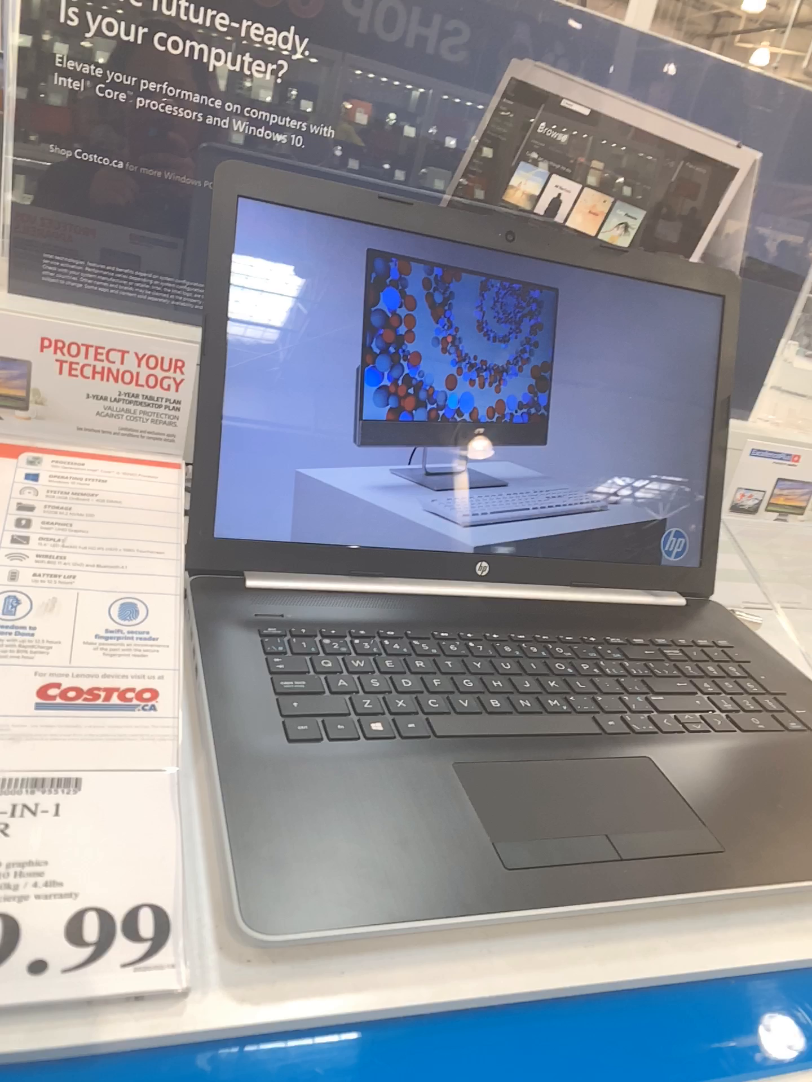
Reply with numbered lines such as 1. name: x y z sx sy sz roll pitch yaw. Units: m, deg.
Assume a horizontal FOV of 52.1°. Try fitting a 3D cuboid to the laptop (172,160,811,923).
1. laptop: 0.095 -0.041 0.472 0.395 0.234 0.371 4 23 -21
